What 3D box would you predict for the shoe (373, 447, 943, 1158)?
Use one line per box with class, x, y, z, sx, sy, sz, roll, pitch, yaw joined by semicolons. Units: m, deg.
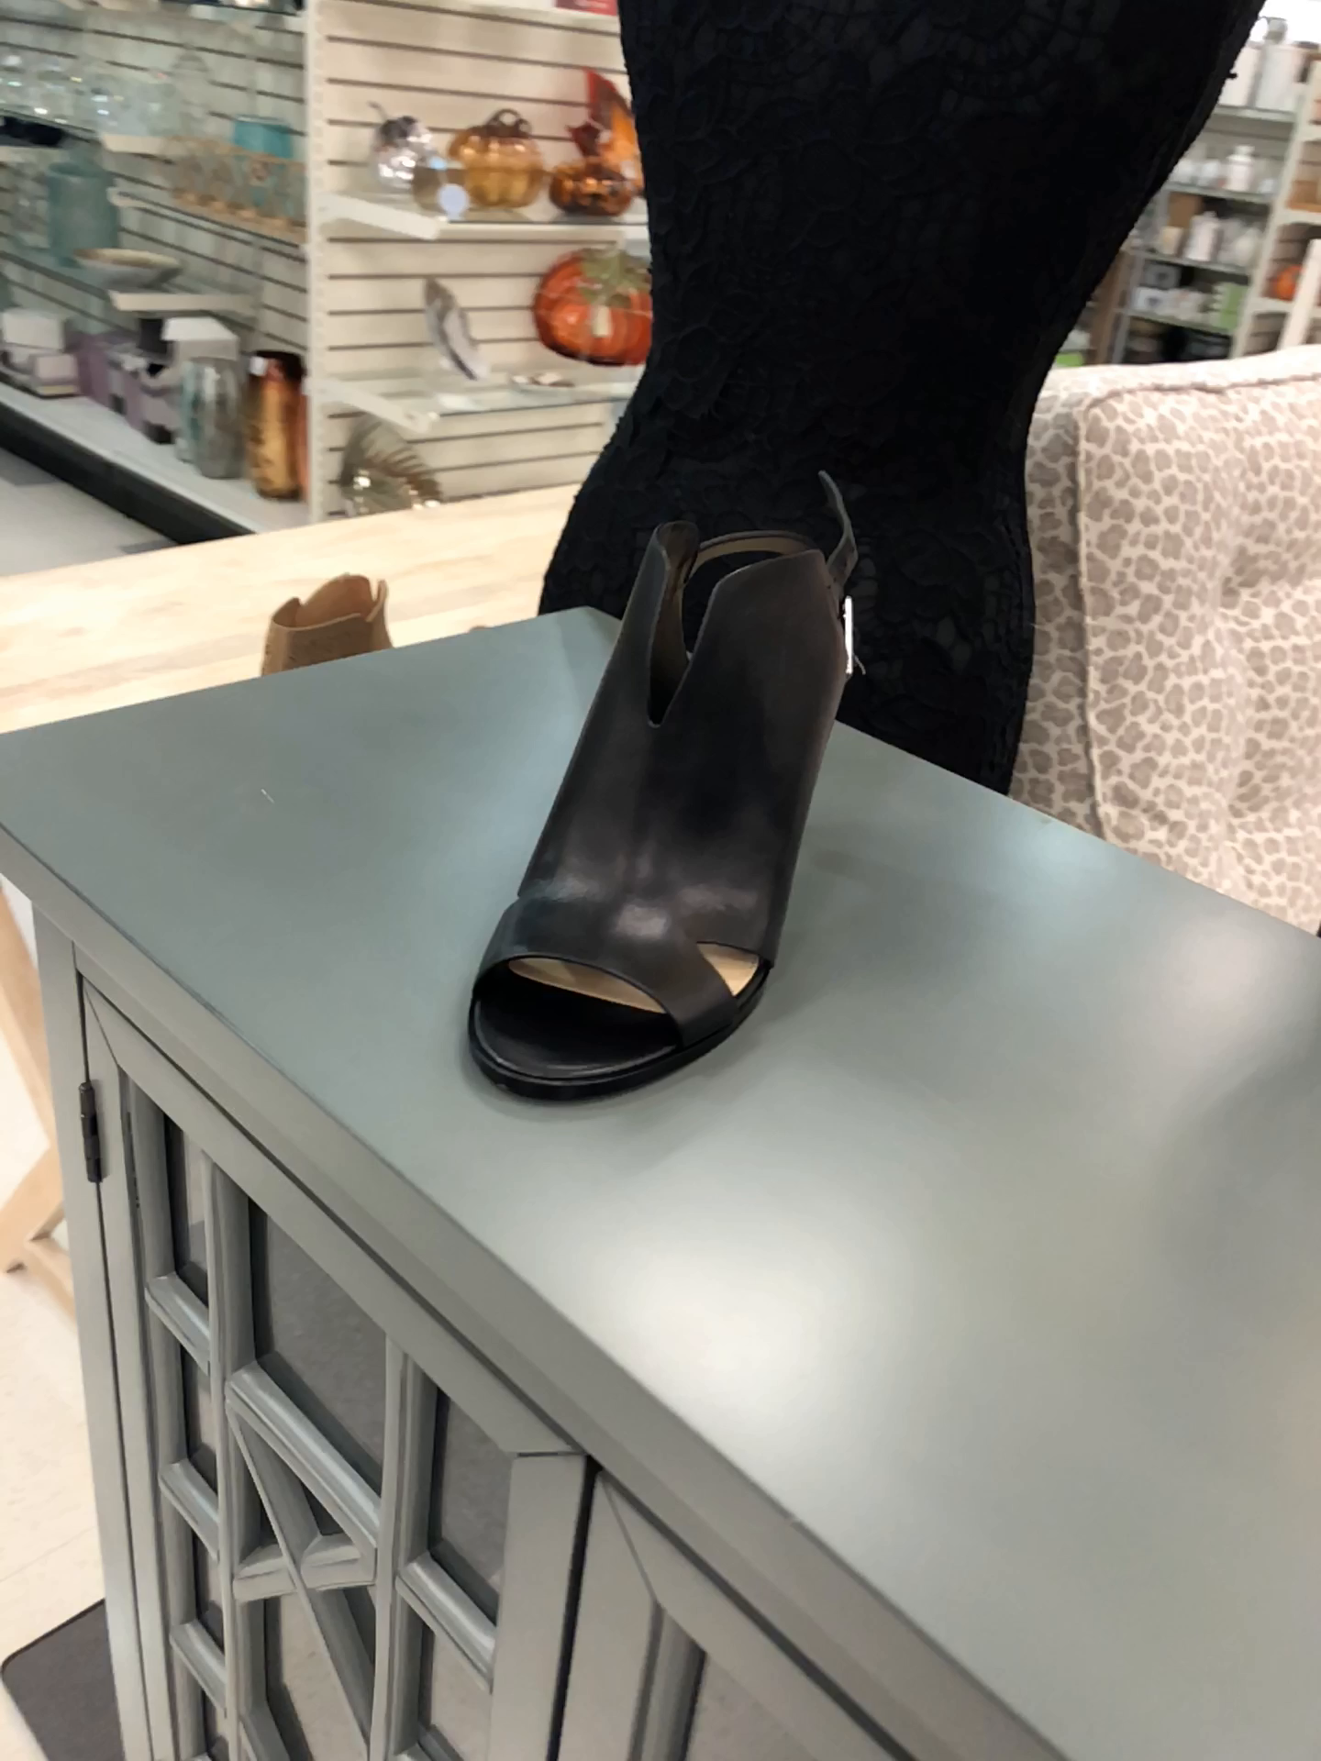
shoe;0.008;-0.046;0.505;0.091;0.151;0.241;17;31;19
